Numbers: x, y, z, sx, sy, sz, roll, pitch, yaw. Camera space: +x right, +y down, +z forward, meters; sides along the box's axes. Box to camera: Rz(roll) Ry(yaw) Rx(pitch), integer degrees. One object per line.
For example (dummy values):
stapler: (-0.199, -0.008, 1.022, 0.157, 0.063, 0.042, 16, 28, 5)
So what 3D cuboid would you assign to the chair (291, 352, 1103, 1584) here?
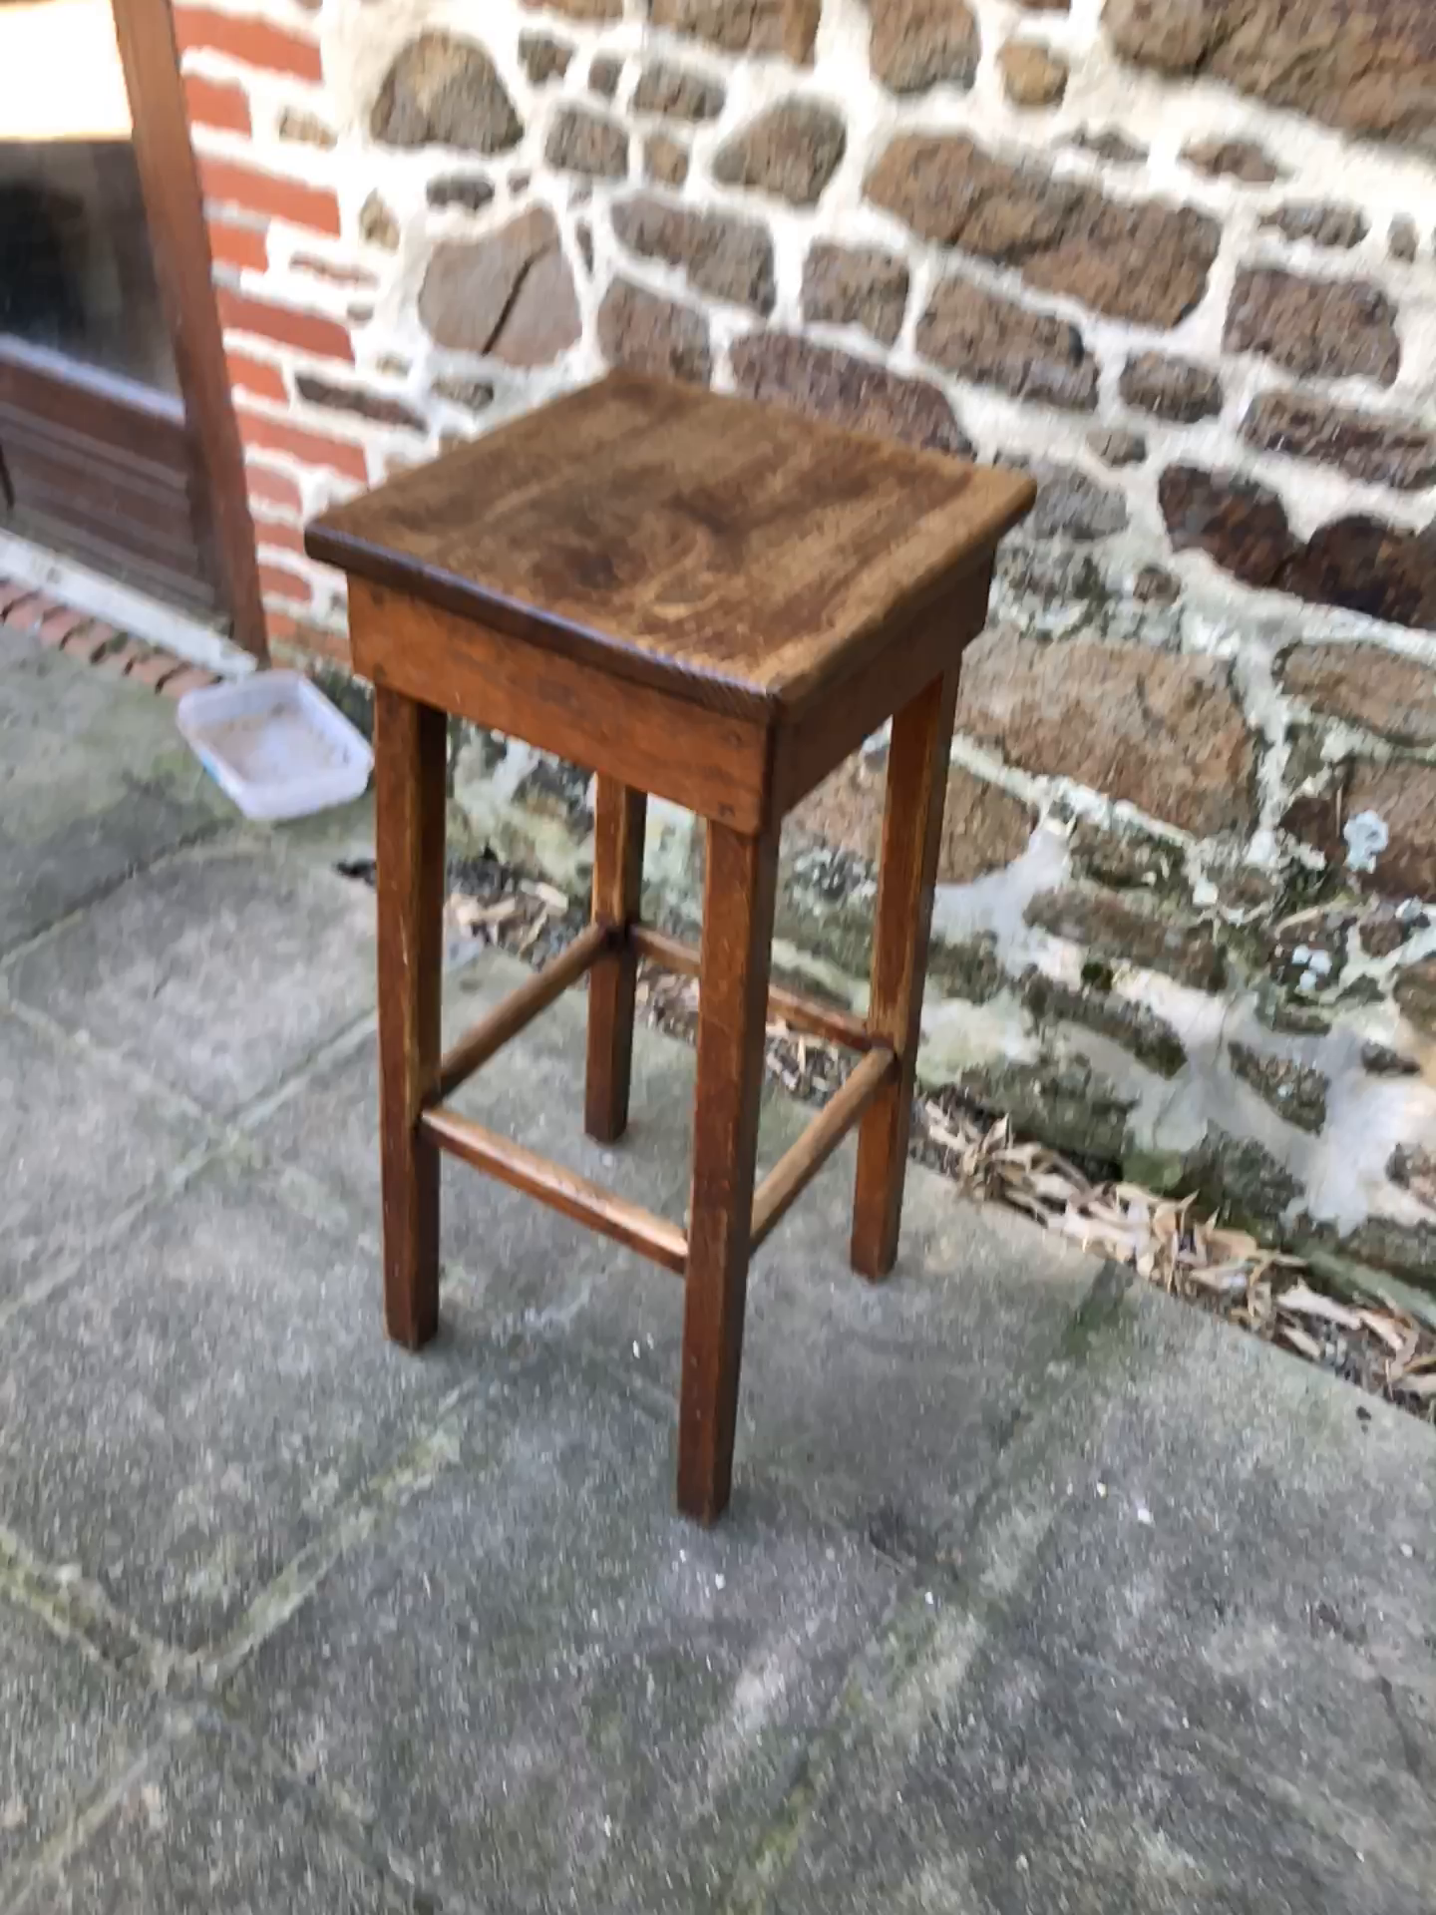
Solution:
chair: (-0.019, 0.038, 1.165, 0.350, 0.795, 0.332, 23, 44, 22)
